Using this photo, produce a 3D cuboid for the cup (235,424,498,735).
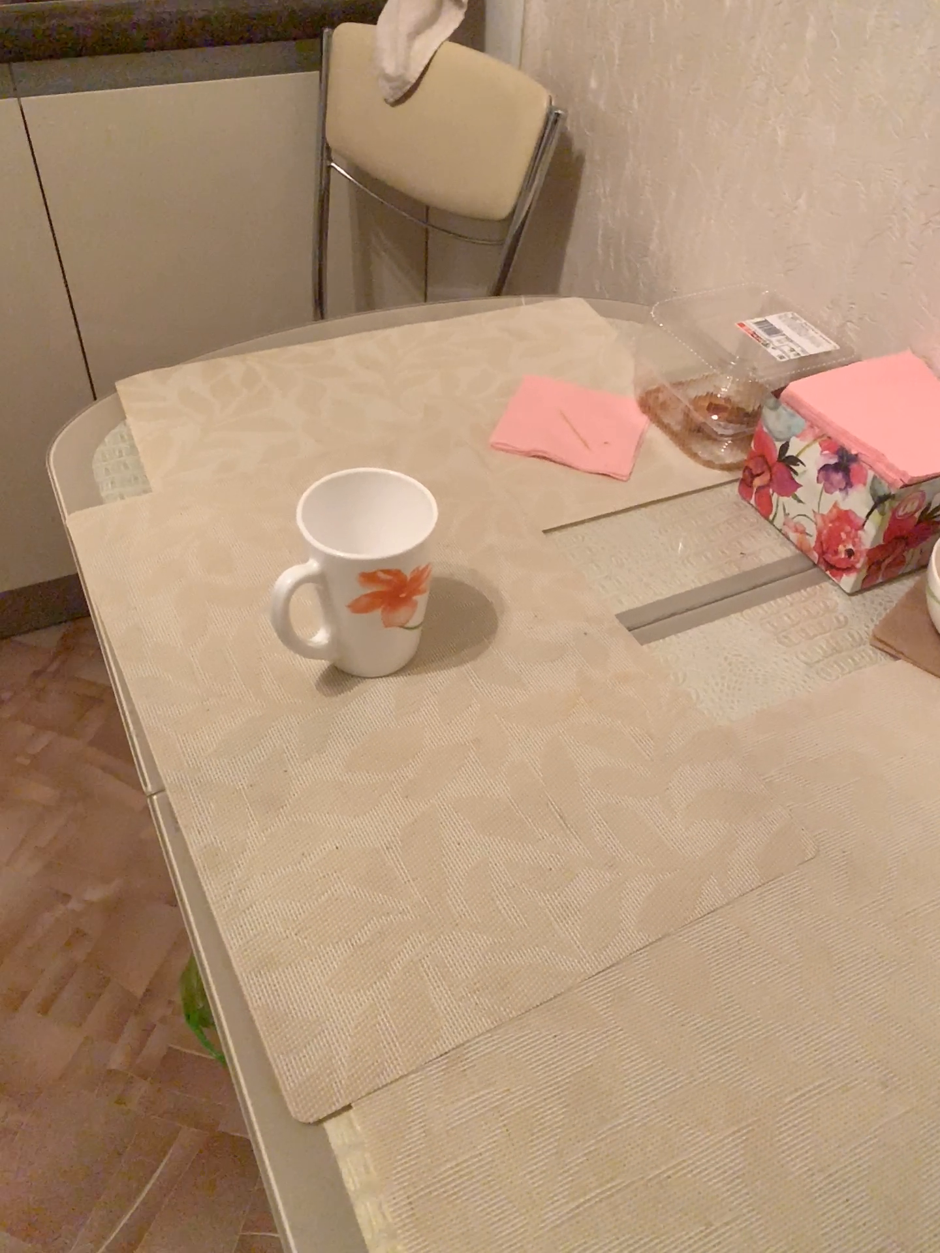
[{"bbox_3d":[-0.055,-0.029,0.550,0.080,0.109,0.121,29,50,23],"label":"cup"}]
